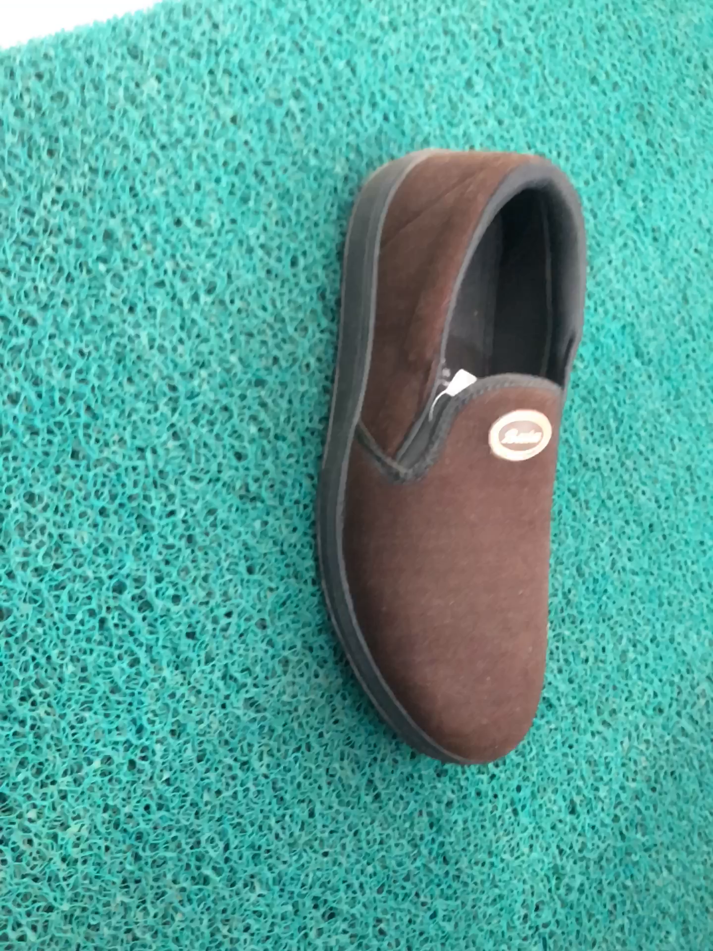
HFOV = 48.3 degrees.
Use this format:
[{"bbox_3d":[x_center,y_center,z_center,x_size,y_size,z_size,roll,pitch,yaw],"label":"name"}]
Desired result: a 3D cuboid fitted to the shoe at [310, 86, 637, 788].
[{"bbox_3d":[0.047,-0.013,0.360,0.101,0.099,0.260,4,82,-33],"label":"shoe"}]
